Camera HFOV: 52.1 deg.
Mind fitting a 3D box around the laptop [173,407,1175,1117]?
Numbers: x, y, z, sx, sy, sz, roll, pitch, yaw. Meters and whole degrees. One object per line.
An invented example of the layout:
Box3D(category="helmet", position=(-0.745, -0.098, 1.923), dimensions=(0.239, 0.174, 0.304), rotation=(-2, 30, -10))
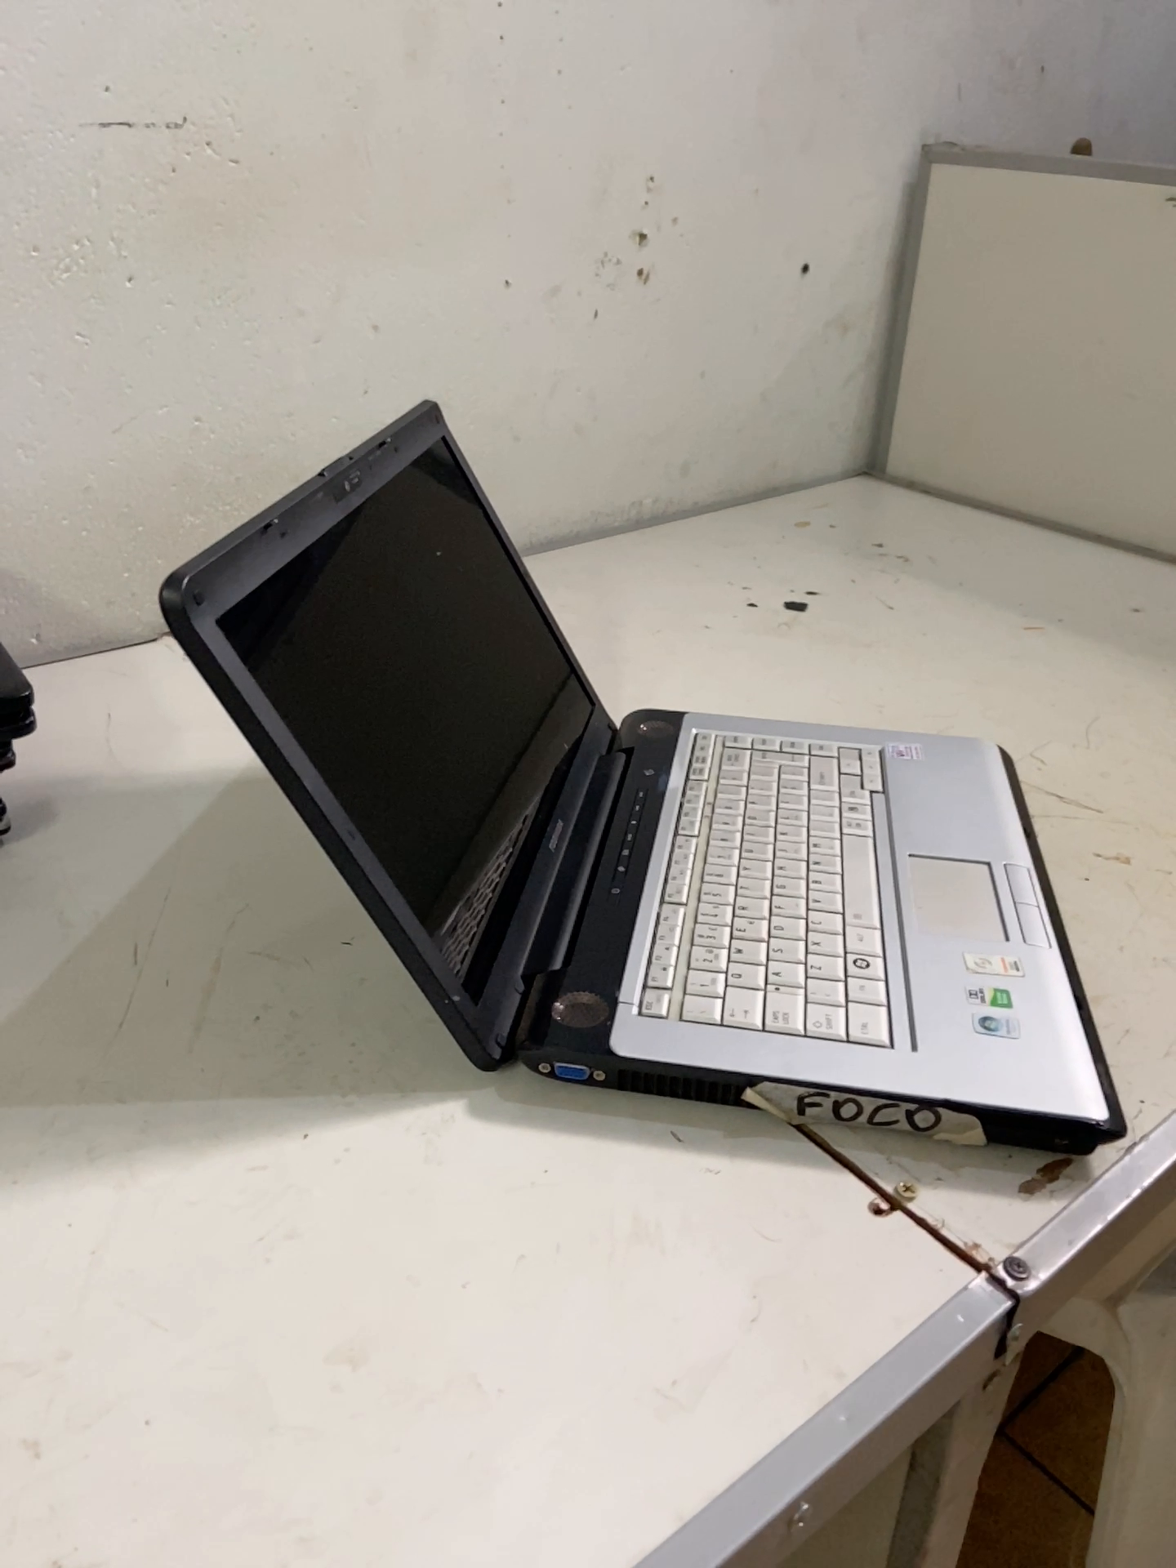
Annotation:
Box3D(category="laptop", position=(0.060, -0.050, 0.640), dimensions=(0.393, 0.200, 0.353), rotation=(6, 29, 8))
